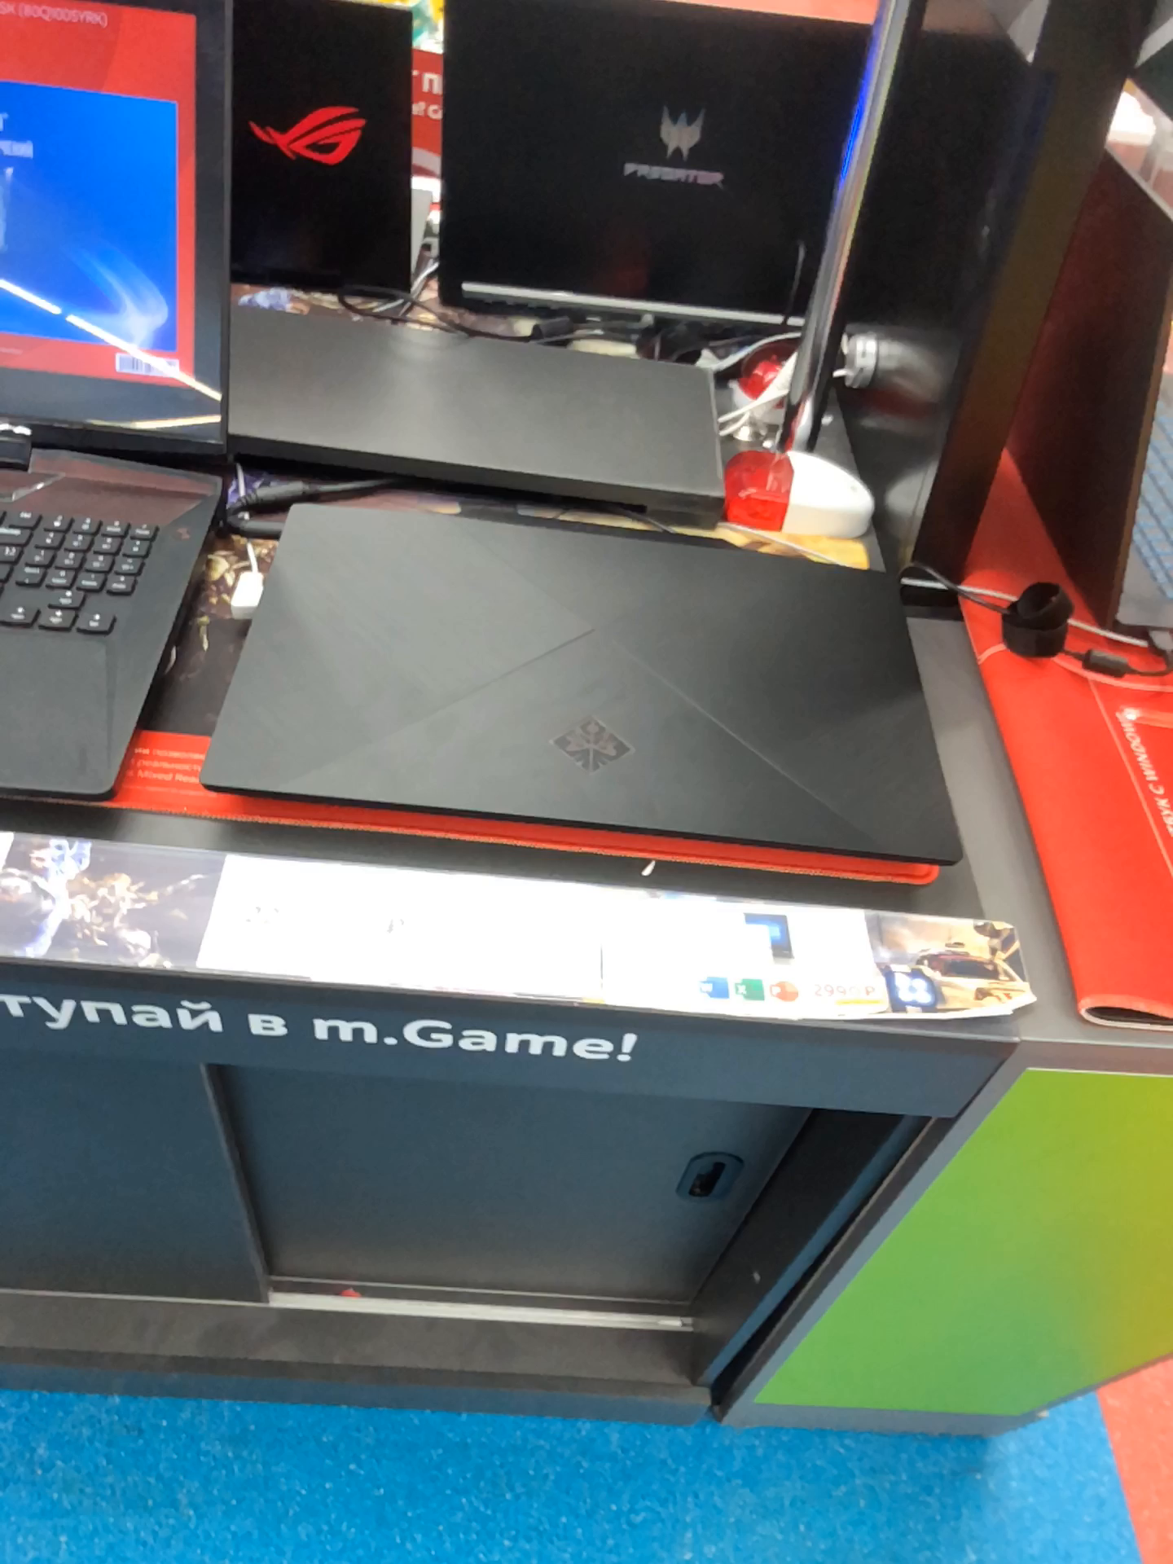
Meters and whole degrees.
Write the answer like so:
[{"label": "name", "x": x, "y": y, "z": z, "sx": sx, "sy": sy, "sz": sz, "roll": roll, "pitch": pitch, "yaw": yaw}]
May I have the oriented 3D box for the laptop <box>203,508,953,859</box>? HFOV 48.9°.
[{"label": "laptop", "x": 0.000, "y": -0.070, "z": 0.774, "sx": 0.398, "sy": 0.002, "sz": 0.262, "roll": 6, "pitch": 43, "yaw": -4}]
